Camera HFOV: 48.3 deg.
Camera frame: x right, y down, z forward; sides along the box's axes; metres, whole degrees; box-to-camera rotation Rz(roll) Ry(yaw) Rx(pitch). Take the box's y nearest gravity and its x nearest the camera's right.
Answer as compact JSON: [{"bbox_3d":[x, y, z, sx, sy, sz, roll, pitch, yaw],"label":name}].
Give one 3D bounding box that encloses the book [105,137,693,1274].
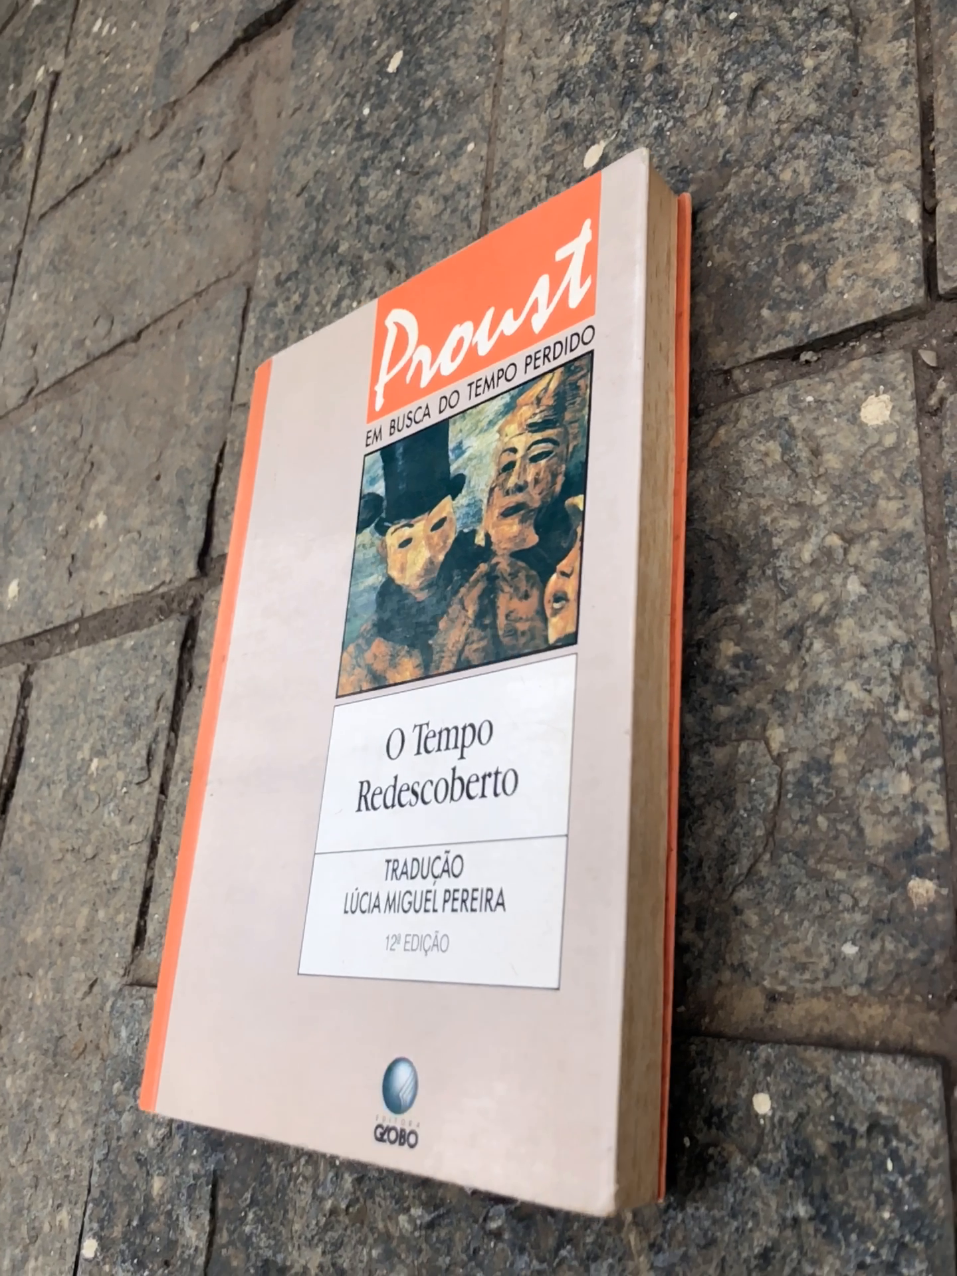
[{"bbox_3d":[-0.018,0.009,0.231,0.134,0.023,0.199,-14,64,41],"label":"book"}]
